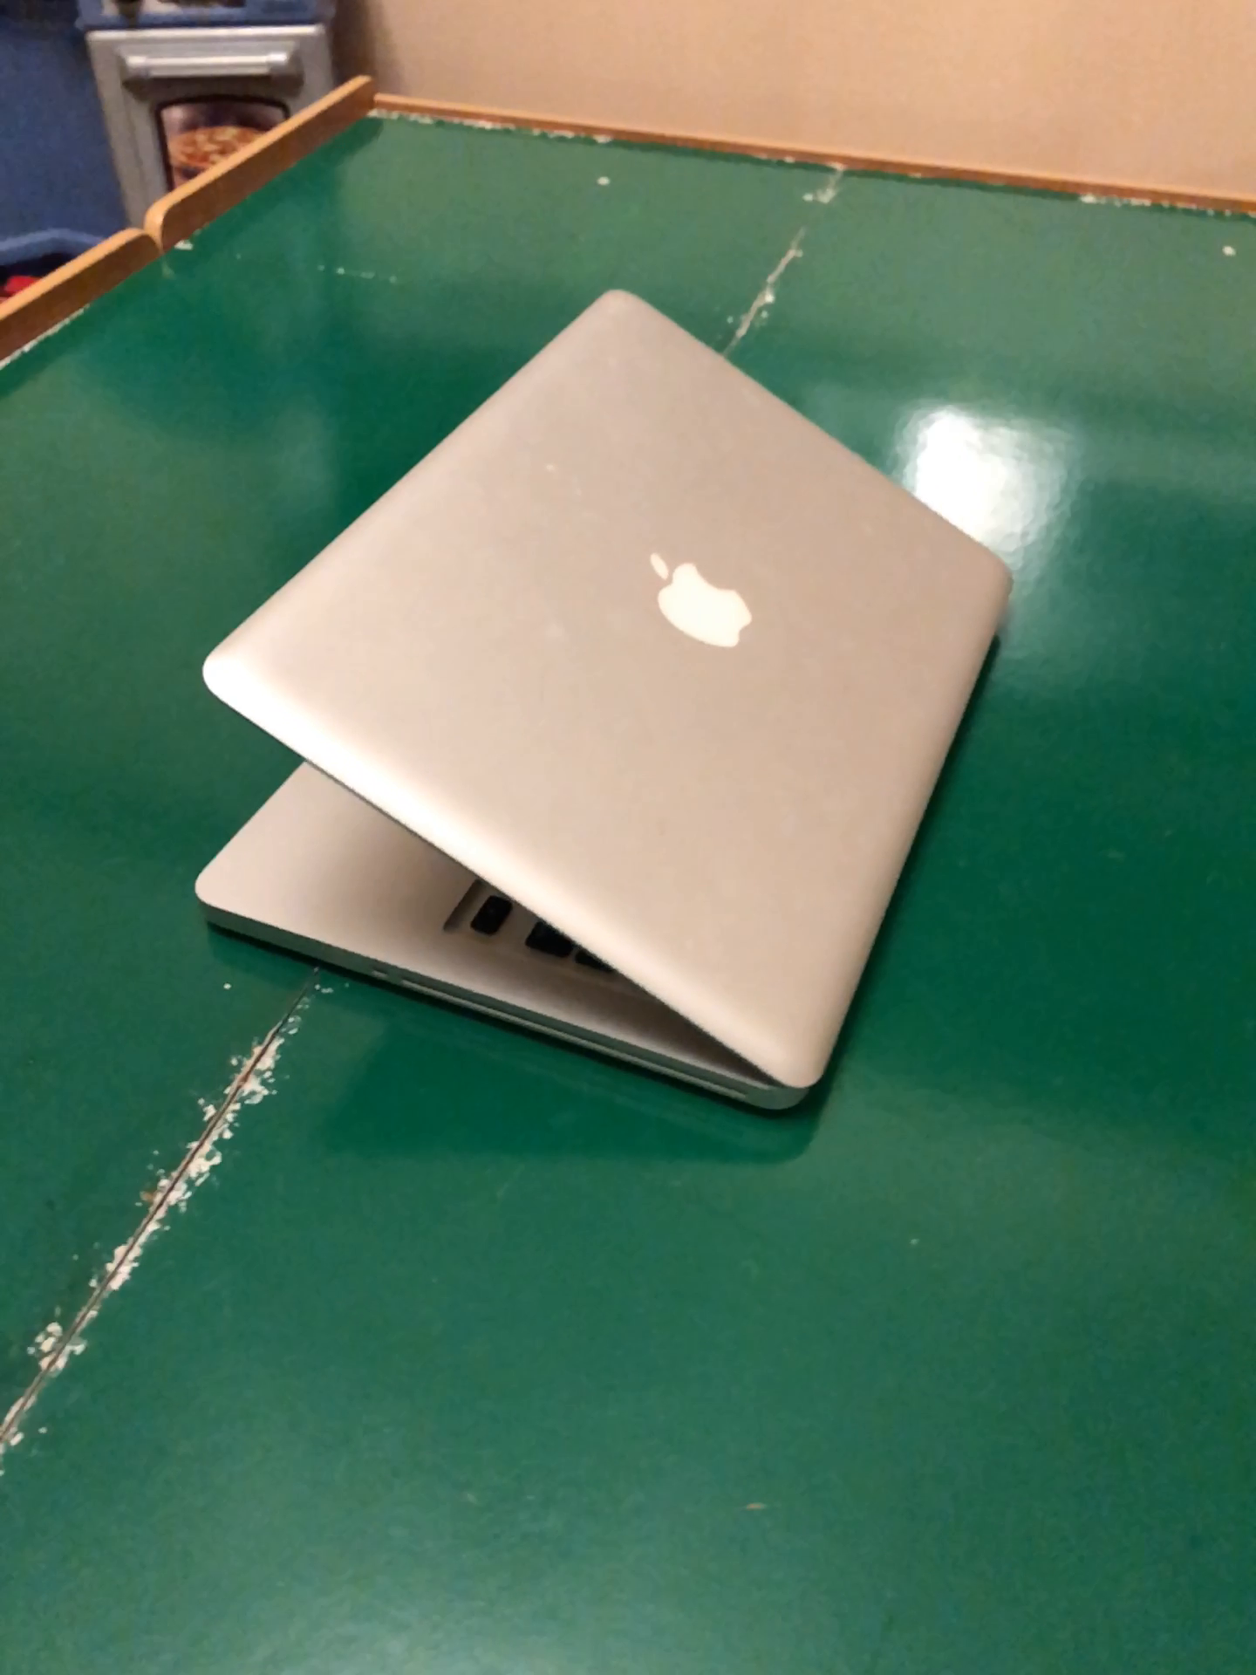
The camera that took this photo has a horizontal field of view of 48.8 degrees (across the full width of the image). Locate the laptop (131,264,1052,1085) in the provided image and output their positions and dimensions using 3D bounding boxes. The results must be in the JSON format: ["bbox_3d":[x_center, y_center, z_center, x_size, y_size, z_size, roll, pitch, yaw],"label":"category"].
[{"bbox_3d":[0.013,-0.090,0.520,0.210,0.098,0.316,18,46,15],"label":"laptop"}]
